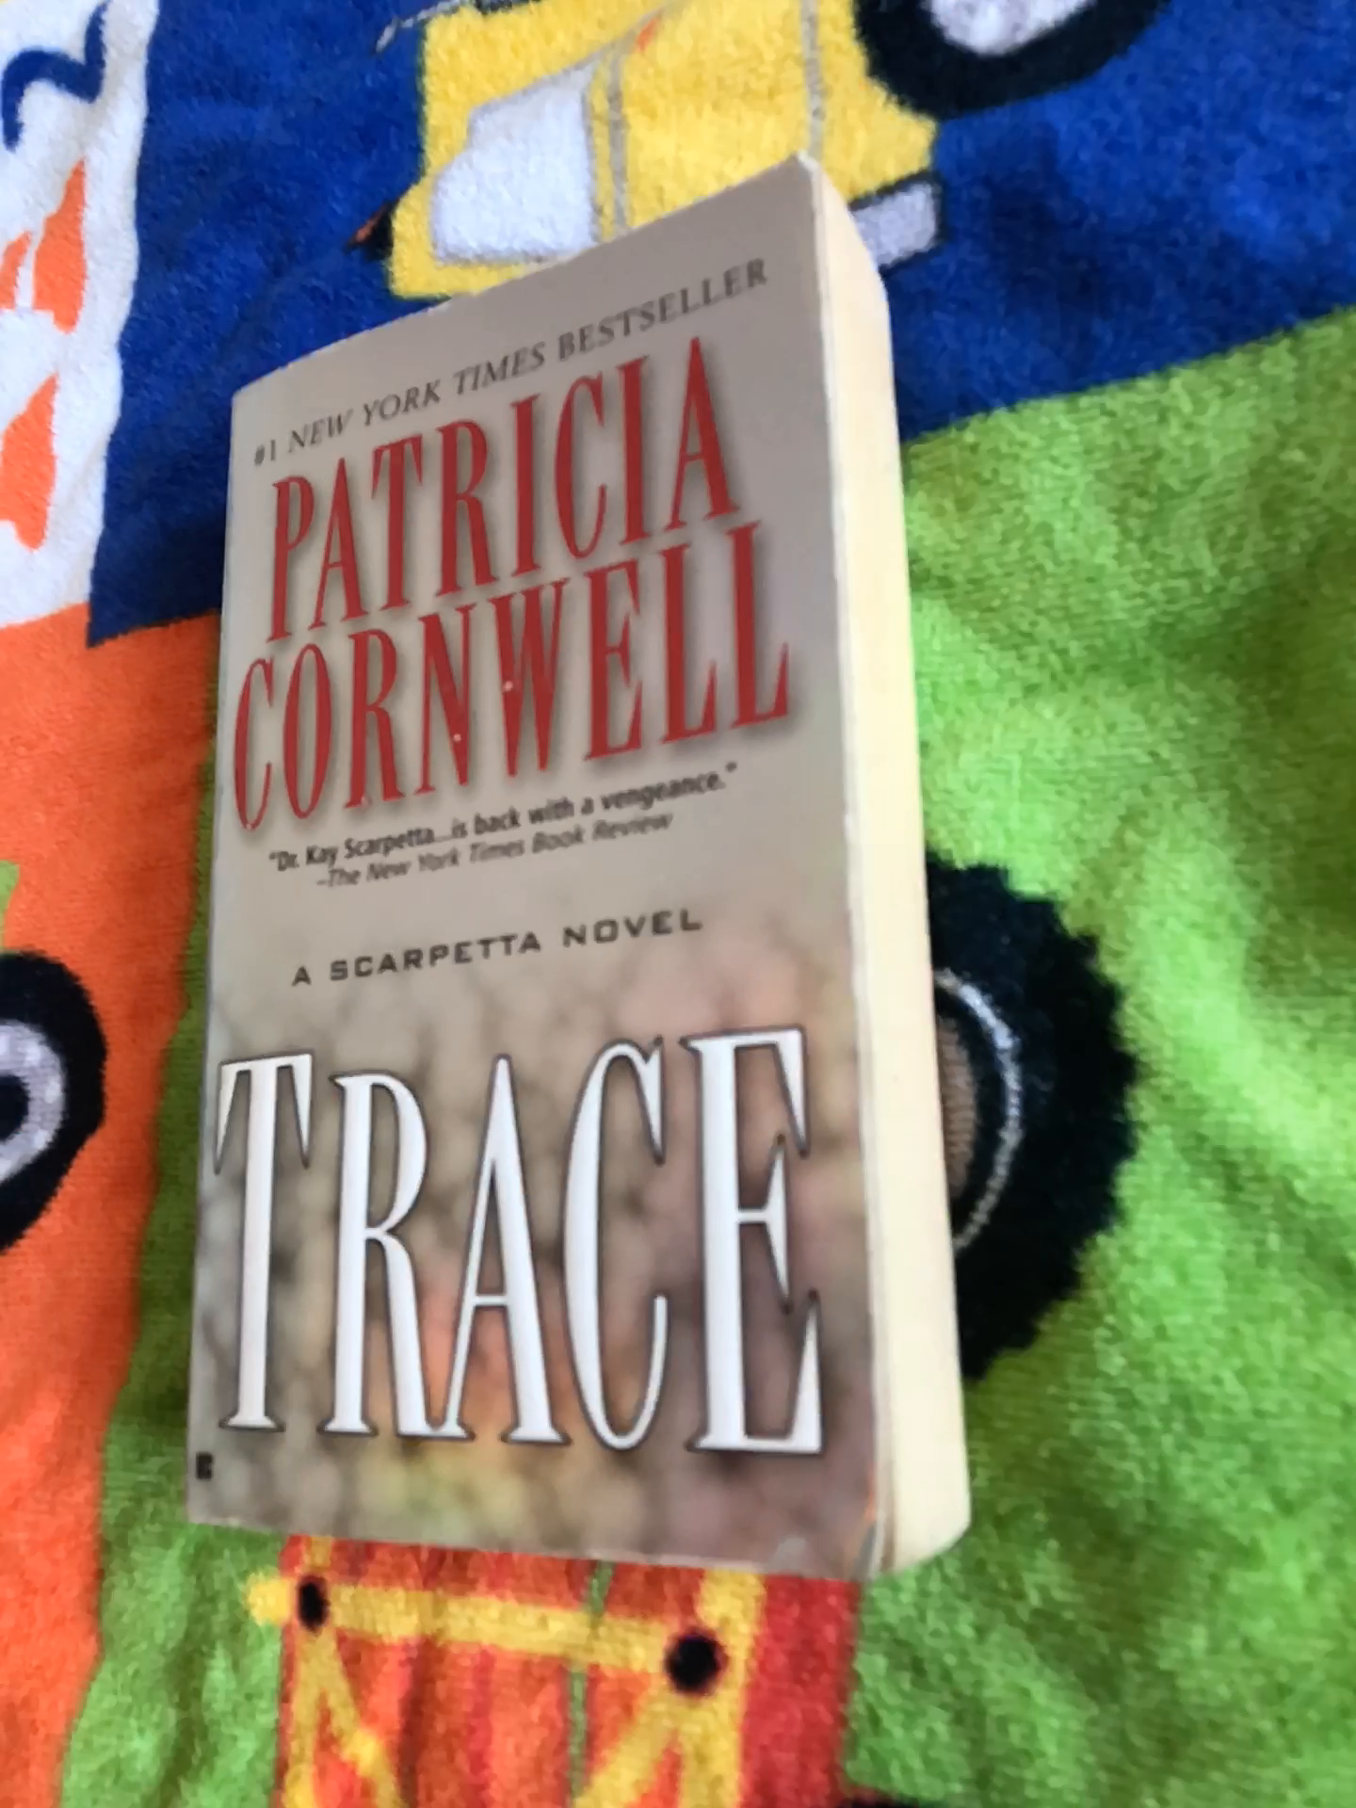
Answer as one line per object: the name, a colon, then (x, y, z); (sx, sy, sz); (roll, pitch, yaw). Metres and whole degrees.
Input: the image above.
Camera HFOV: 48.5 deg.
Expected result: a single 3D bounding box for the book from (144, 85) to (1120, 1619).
book: (-0.011, -0.005, 0.214); (0.120, 0.040, 0.180); (-8, 75, 26)
